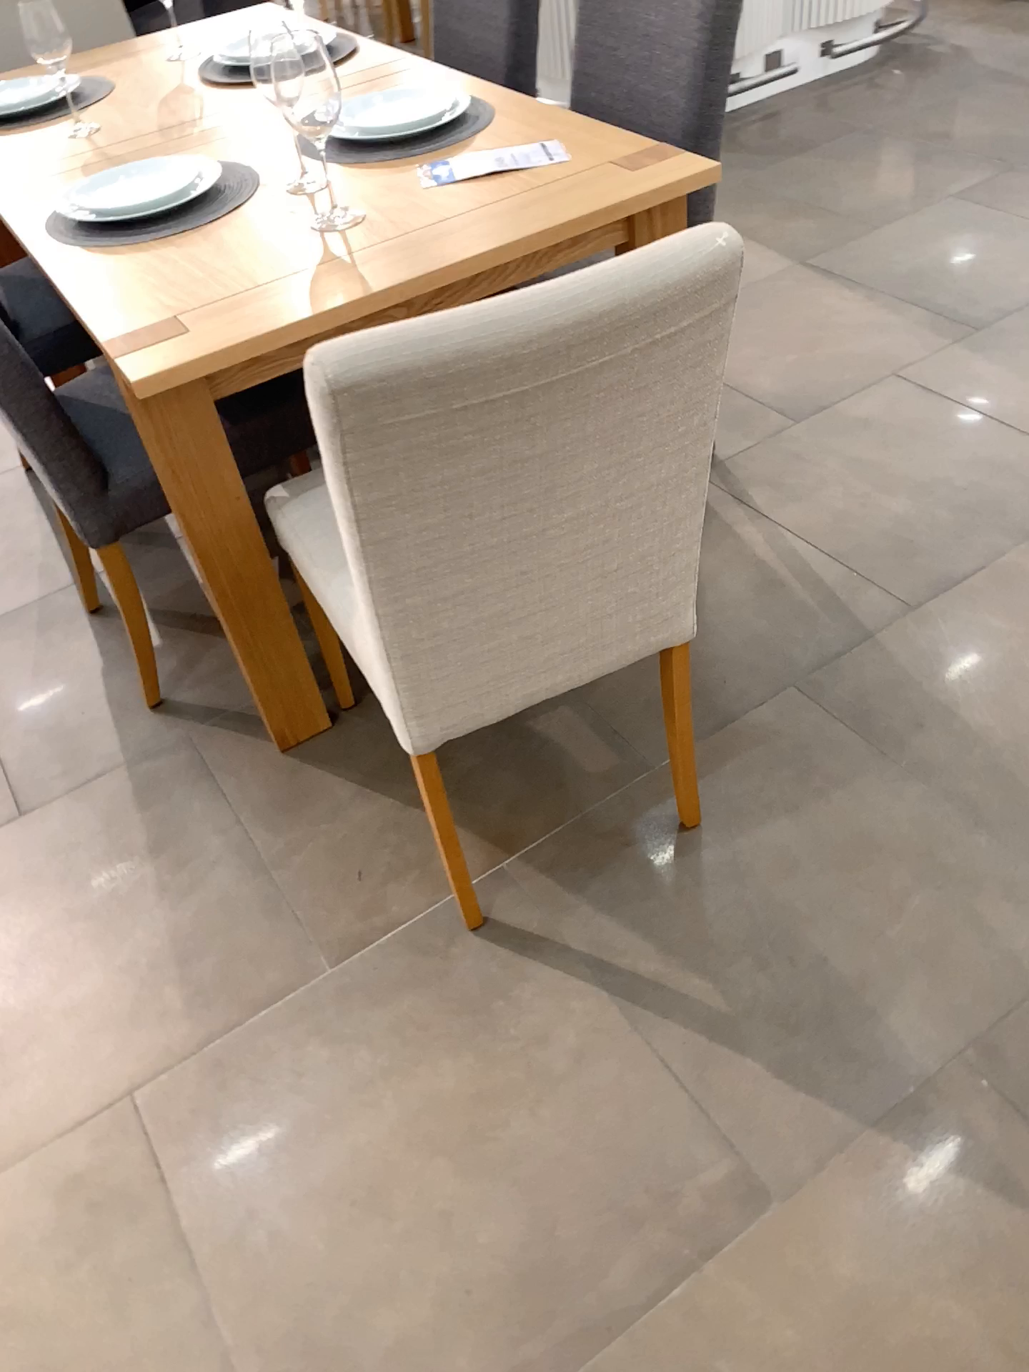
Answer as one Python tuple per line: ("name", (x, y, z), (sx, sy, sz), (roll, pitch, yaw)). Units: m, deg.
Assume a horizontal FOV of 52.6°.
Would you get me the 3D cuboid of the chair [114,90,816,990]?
("chair", (-0.056, -0.193, 1.368), (0.537, 0.838, 0.648), (-22, 44, -13))
